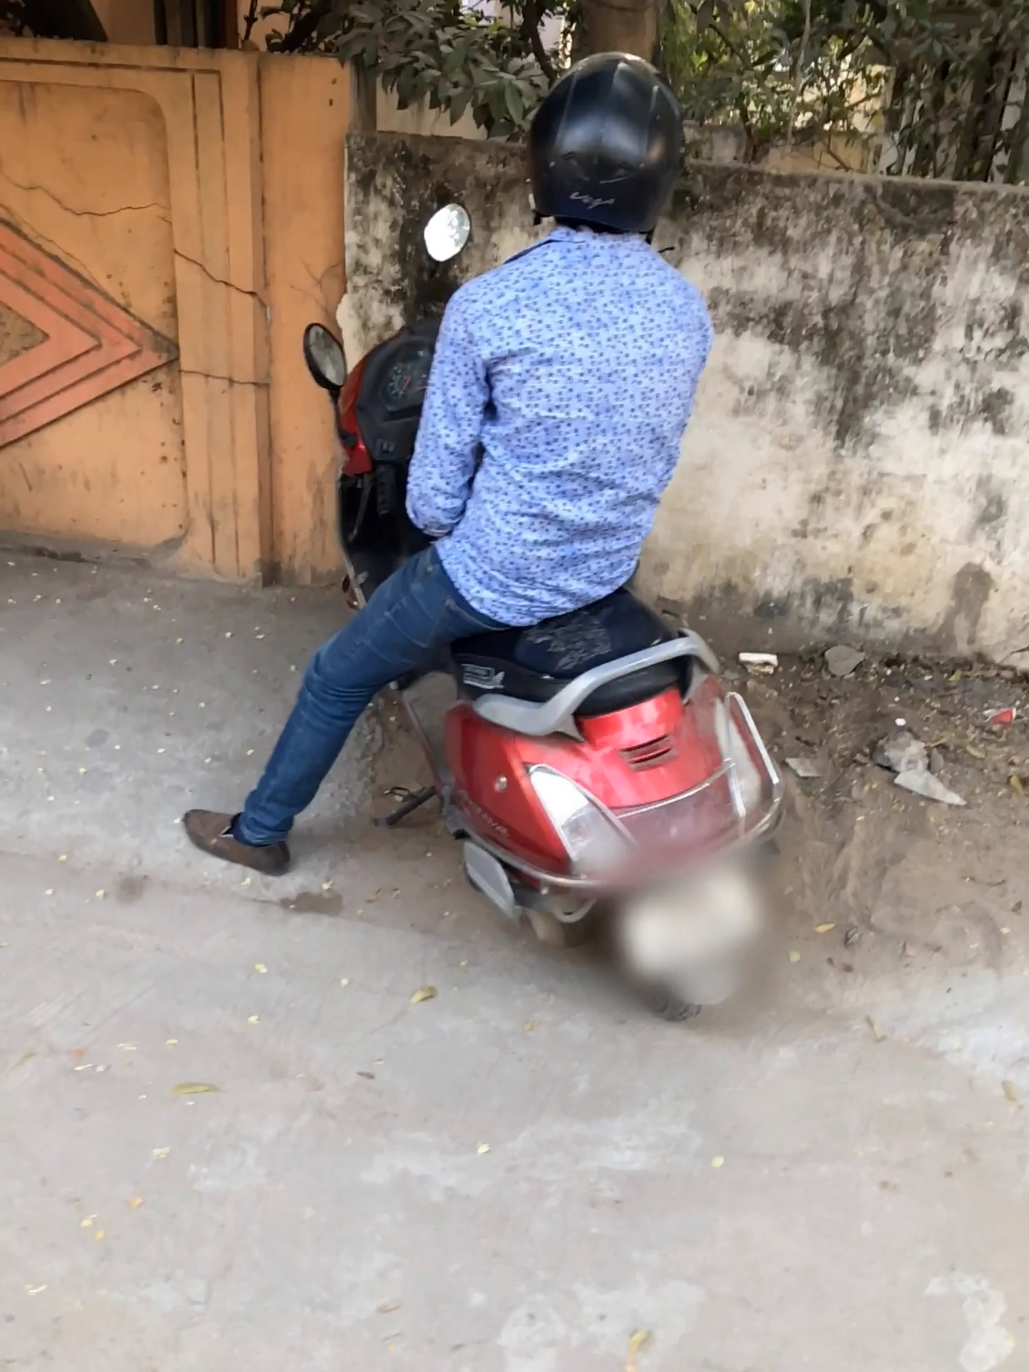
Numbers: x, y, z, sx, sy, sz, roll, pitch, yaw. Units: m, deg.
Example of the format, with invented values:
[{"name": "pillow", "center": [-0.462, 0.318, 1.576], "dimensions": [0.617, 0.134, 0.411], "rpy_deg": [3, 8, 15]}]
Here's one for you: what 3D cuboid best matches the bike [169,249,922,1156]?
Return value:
[{"name": "bike", "center": [-0.123, -0.135, 2.346], "dimensions": [0.723, 1.165, 1.507], "rpy_deg": [-10, 32, -27]}]
